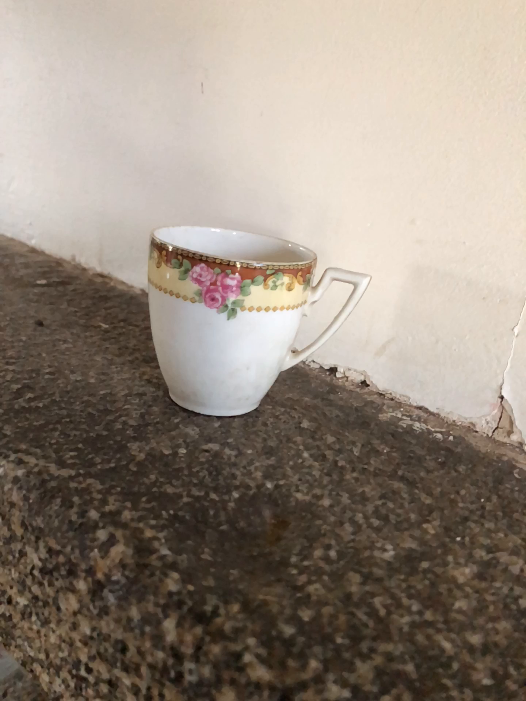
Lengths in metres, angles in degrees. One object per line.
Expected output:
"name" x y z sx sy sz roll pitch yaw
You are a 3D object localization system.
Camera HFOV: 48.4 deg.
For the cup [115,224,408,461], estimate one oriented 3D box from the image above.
"cup" 0.000 -0.011 0.236 0.090 0.060 0.070 15 21 22
